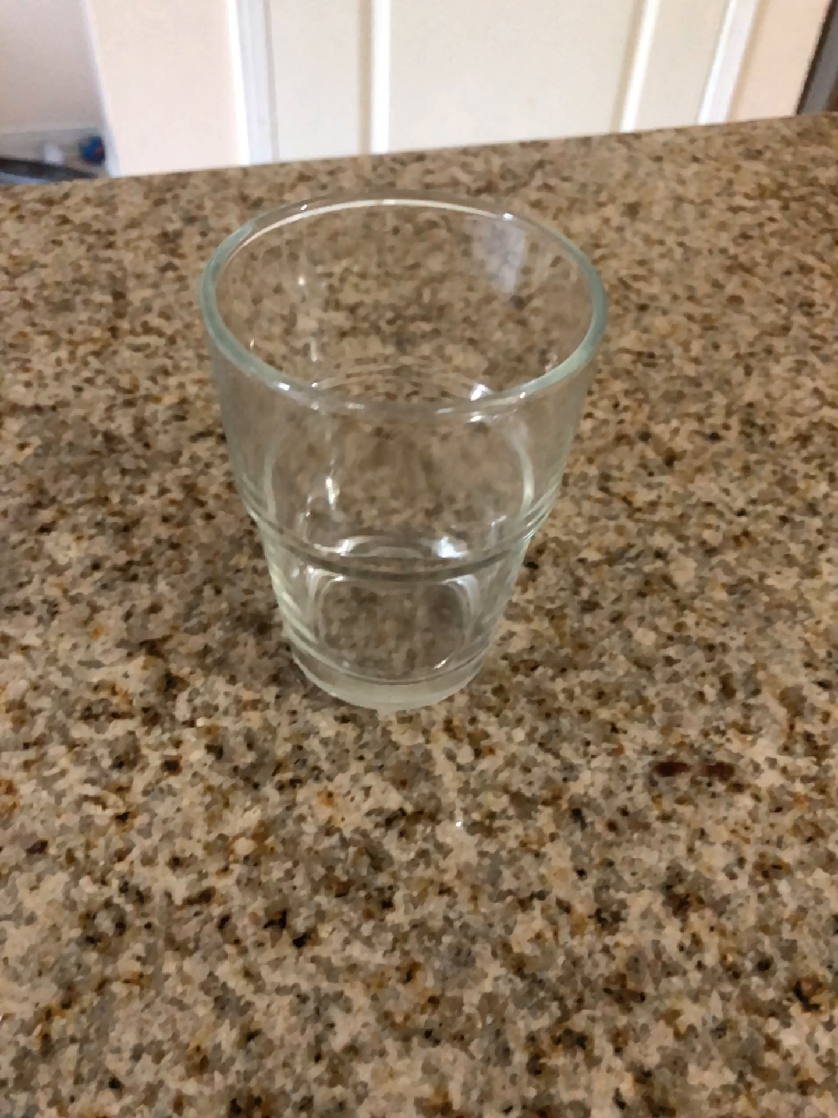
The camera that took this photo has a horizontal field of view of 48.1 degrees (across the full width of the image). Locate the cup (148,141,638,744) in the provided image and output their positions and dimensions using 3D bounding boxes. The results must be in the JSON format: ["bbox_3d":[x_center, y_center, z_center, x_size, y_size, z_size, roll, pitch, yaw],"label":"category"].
[{"bbox_3d":[-0.004,-0.025,0.216,0.070,0.100,0.070,2,47,-2],"label":"cup"}]
